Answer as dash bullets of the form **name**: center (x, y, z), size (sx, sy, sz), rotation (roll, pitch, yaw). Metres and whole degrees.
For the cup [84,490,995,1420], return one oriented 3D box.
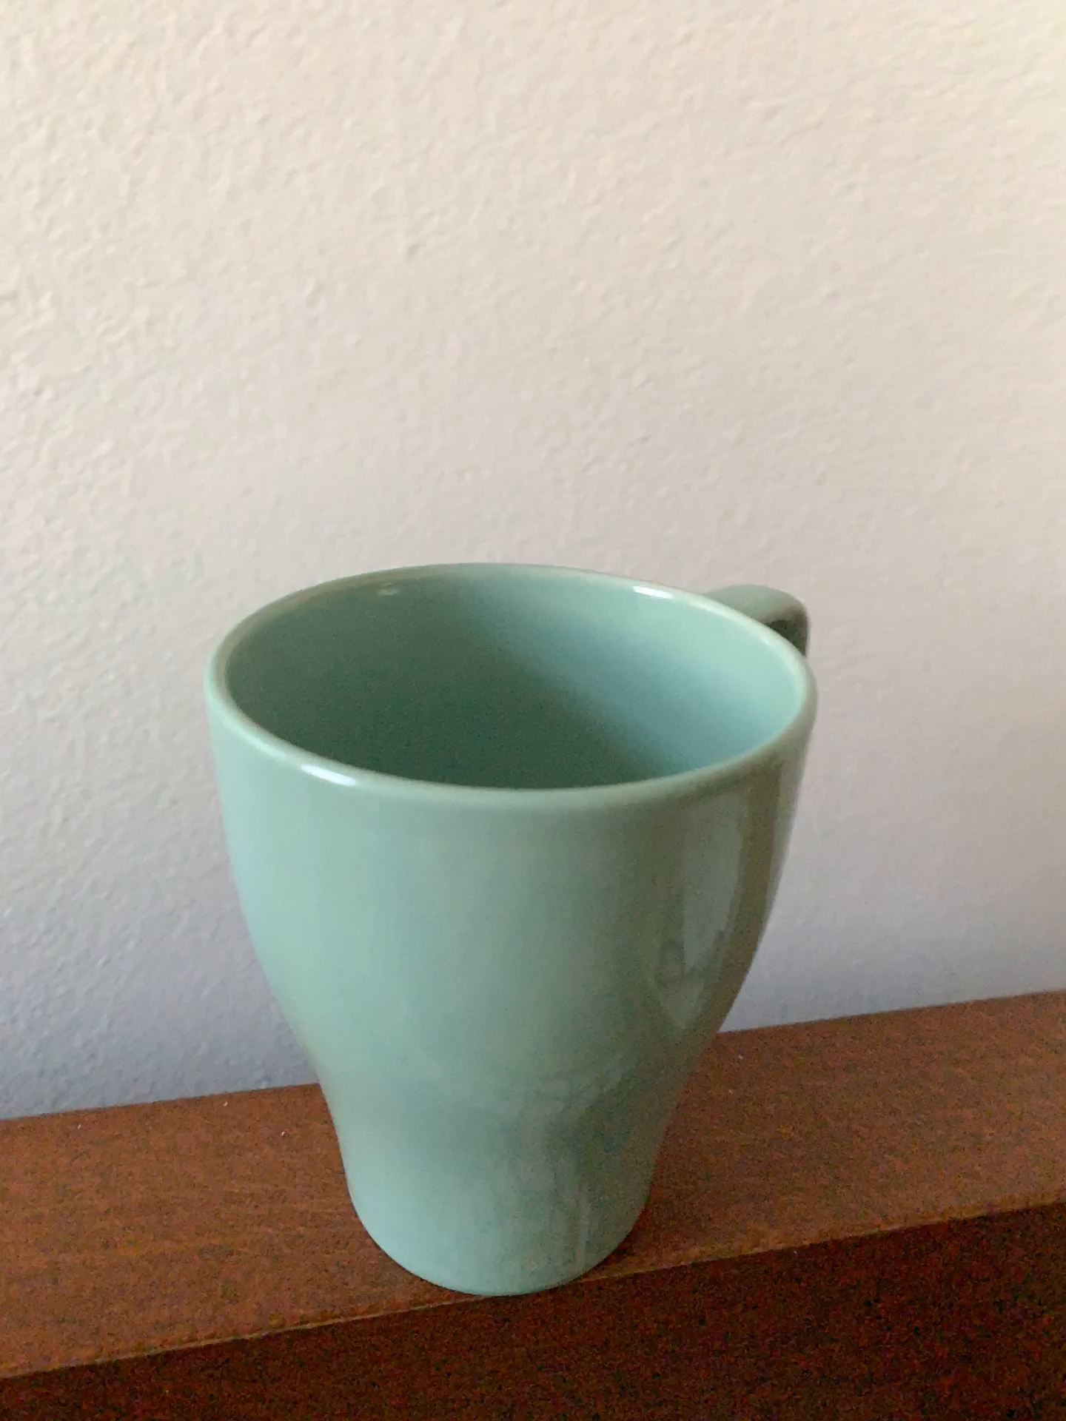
- **cup**: center (0.006, 0.025, 0.190), size (0.082, 0.091, 0.123), rotation (24, 30, 33)
